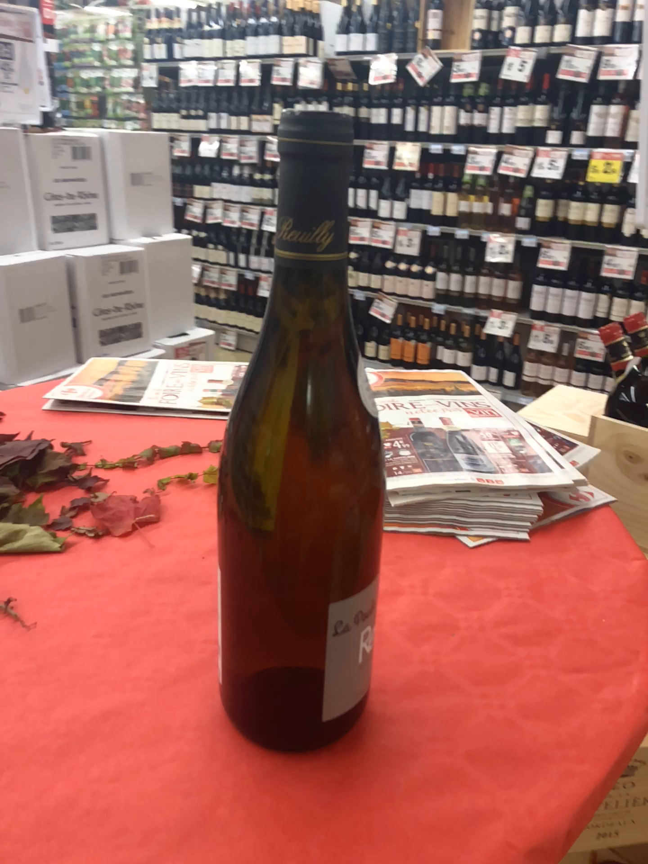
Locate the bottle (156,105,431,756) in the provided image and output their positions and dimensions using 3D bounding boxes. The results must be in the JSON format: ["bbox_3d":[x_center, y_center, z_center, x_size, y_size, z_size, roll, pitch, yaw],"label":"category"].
[{"bbox_3d":[-0.012,0.006,0.326,0.090,0.279,0.090,1,22,-1],"label":"bottle"}]
